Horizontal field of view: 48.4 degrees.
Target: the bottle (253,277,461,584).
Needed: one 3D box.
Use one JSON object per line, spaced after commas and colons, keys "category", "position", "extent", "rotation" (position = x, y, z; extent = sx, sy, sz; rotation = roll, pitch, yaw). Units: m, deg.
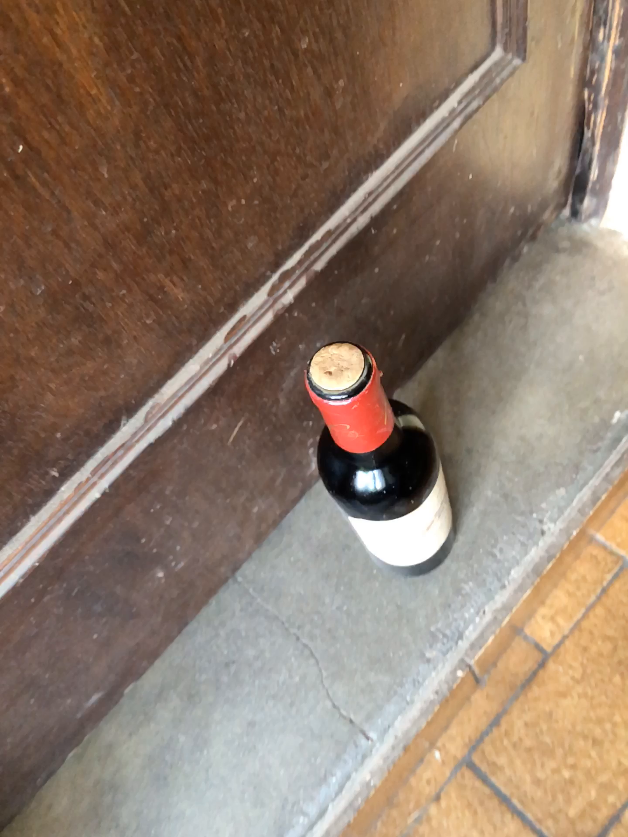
{"category": "bottle", "position": [0.039, 0.025, 0.375], "extent": [0.060, 0.239, 0.070], "rotation": [3, 66, 16]}
